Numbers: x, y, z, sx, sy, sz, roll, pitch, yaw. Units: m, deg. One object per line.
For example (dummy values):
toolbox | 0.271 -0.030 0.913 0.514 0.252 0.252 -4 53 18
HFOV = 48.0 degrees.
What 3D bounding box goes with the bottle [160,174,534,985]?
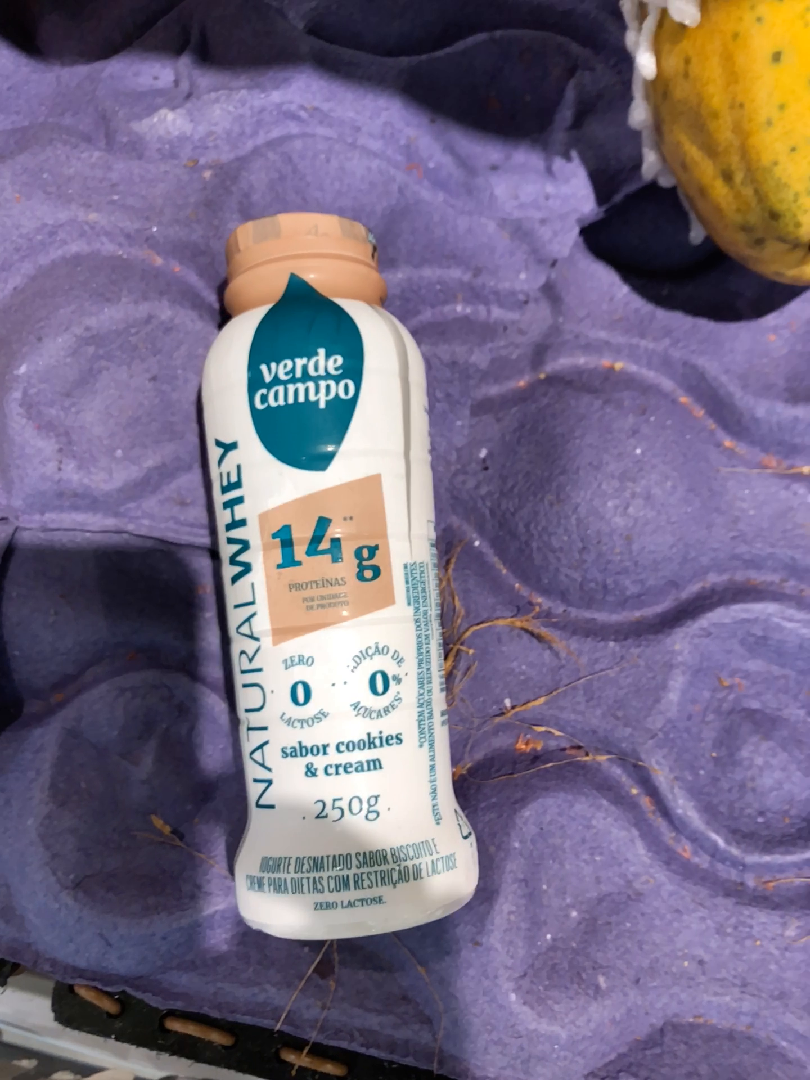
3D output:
bottle | -0.015 0.005 0.205 0.060 0.040 0.160 -6 82 -5
